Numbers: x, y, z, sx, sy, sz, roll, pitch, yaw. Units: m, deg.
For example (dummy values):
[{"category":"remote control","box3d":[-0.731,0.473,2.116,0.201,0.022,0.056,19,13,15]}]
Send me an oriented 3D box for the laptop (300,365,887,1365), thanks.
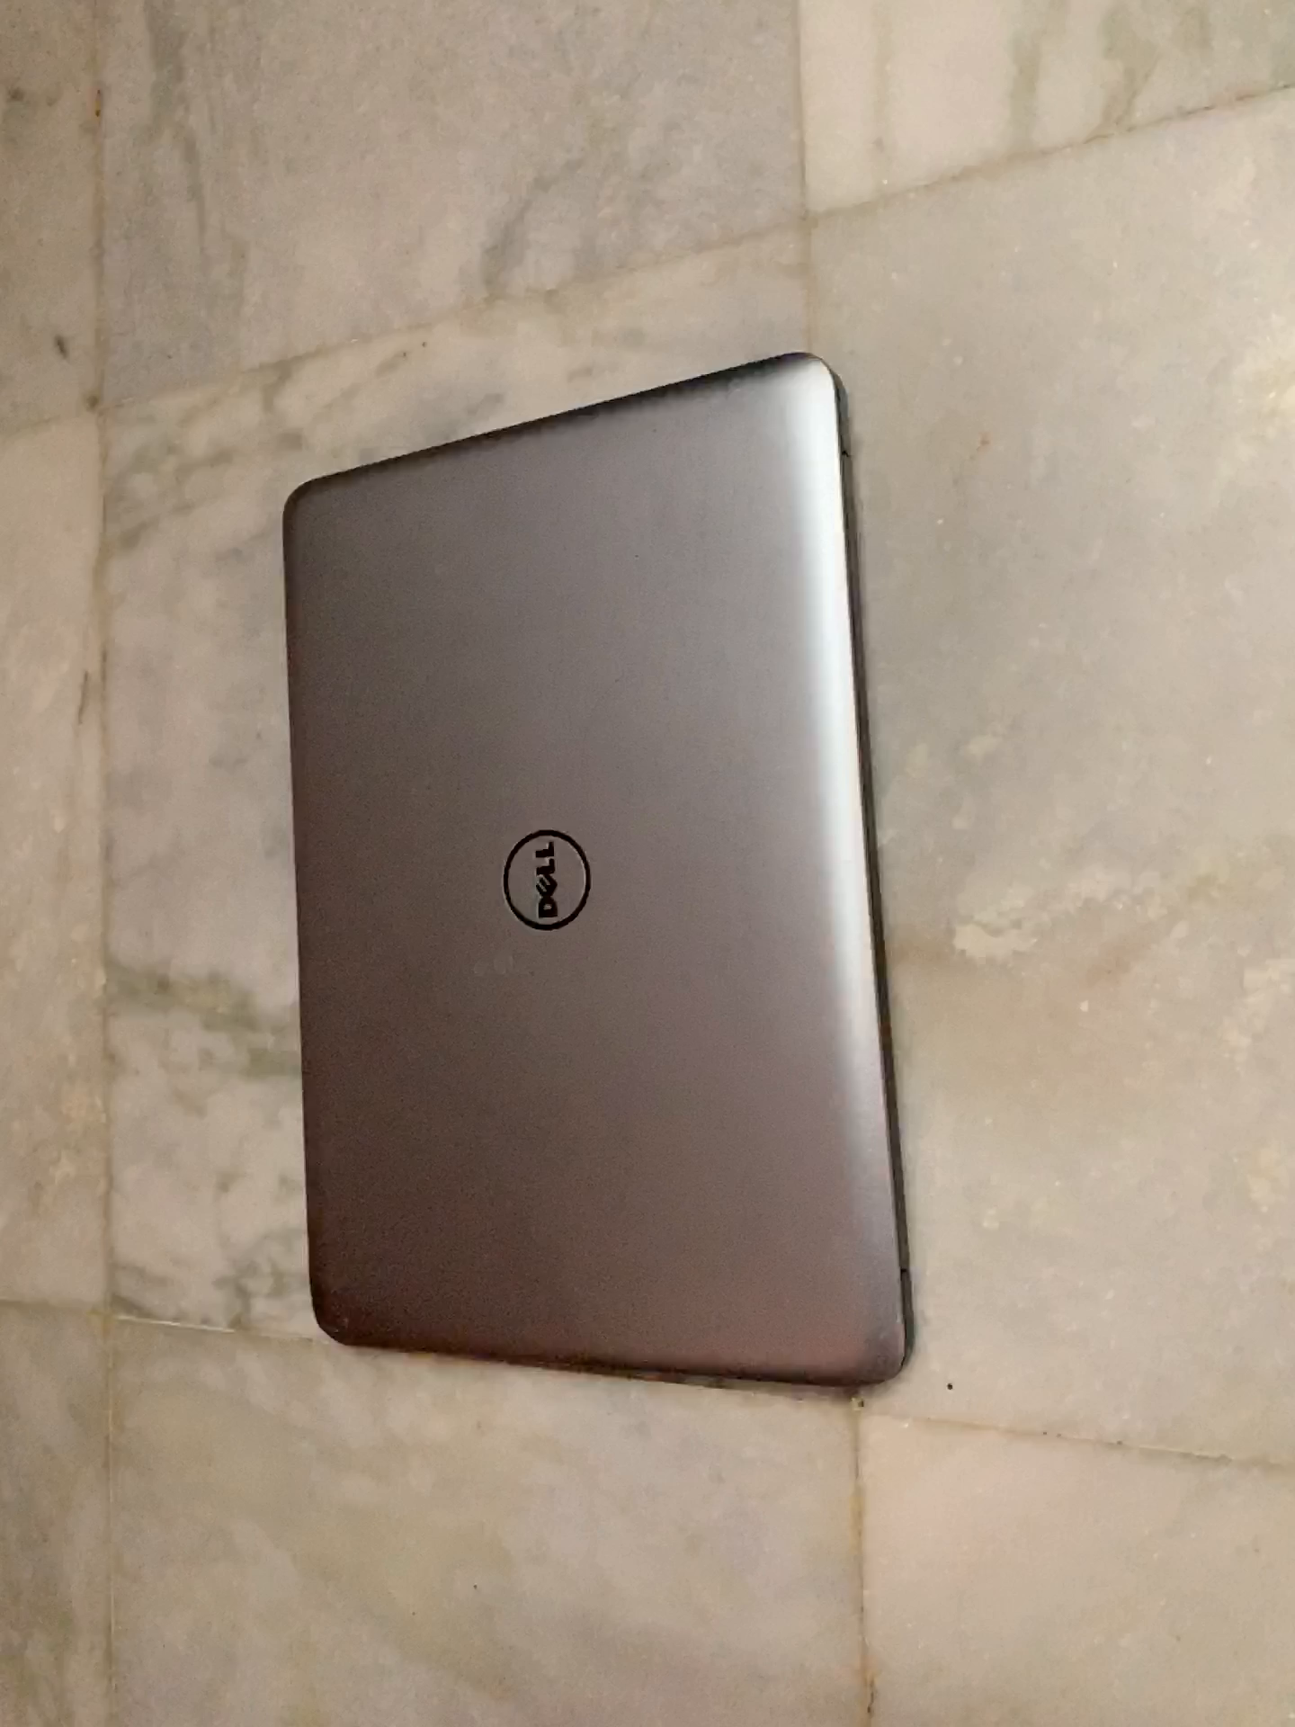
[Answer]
[{"category":"laptop","box3d":[-0.034,0.007,0.514,0.234,0.001,0.351,-5,86,25]}]
